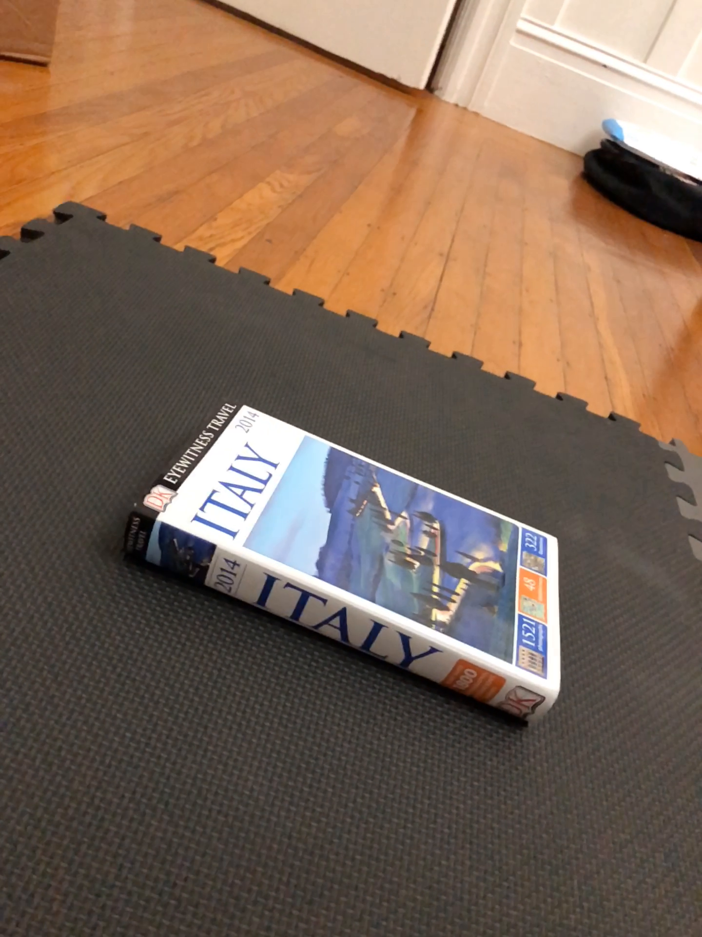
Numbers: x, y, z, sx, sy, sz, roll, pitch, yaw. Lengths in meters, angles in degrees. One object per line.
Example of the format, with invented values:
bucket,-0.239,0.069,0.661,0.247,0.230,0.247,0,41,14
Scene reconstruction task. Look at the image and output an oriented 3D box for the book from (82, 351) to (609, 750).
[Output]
book,0.010,0.032,0.426,0.250,0.040,0.161,22,34,-1
